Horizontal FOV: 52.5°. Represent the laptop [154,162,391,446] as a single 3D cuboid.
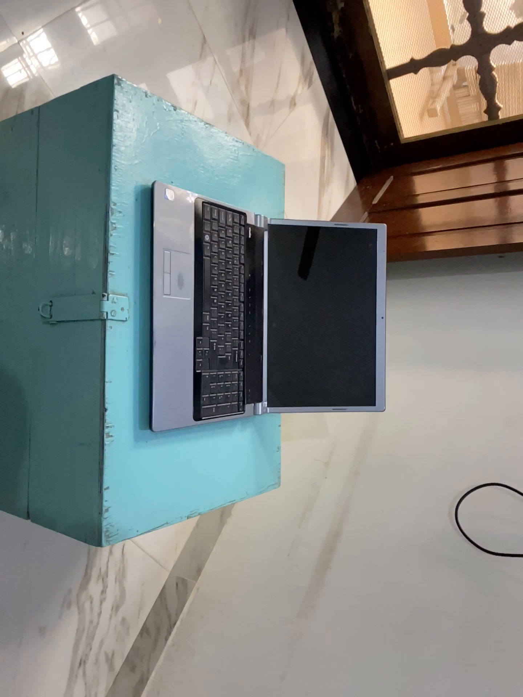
[{"bbox_3d":[0.051,-0.064,0.970,0.481,0.178,0.389,0,91,-53],"label":"laptop"}]
